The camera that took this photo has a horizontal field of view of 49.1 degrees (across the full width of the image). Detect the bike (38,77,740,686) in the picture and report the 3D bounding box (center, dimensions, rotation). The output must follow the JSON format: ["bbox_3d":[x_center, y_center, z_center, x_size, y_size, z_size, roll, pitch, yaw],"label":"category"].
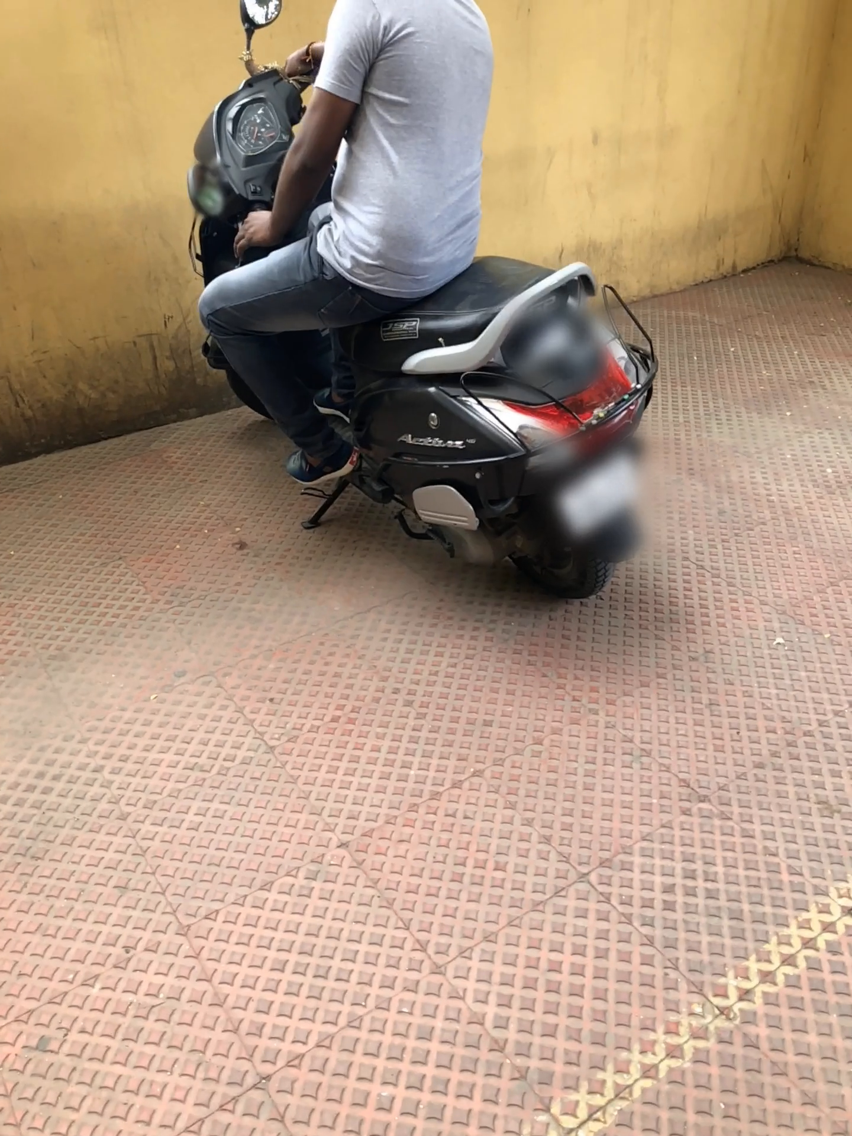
[{"bbox_3d":[-0.195,-0.597,2.281,0.695,1.016,1.548,-25,37,-32],"label":"bike"}]
